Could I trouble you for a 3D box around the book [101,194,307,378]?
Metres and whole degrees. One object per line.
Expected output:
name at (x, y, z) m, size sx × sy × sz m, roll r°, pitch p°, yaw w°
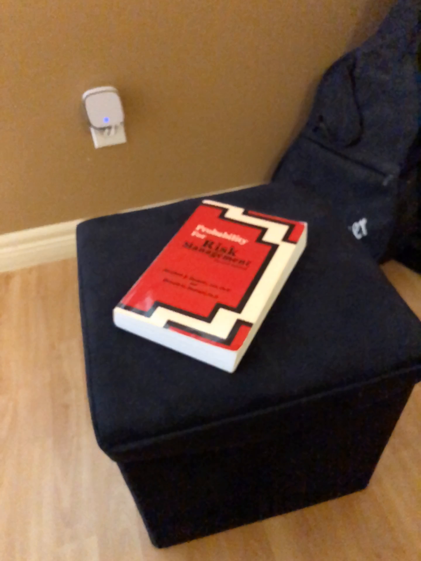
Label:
book at (0.003, -0.009, 0.548) m, size 0.150 × 0.041 × 0.216 m, roll 18°, pitch 49°, yaw 21°
